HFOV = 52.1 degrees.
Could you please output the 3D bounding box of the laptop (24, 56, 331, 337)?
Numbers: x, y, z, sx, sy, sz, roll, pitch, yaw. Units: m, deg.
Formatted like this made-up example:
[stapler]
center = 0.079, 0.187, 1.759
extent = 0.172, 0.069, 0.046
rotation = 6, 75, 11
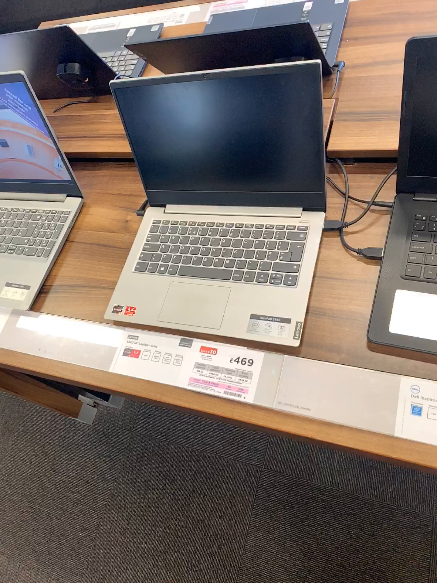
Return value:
[laptop]
center = -0.032, -0.134, 0.638
extent = 0.316, 0.200, 0.295
rotation = 7, 64, 23
